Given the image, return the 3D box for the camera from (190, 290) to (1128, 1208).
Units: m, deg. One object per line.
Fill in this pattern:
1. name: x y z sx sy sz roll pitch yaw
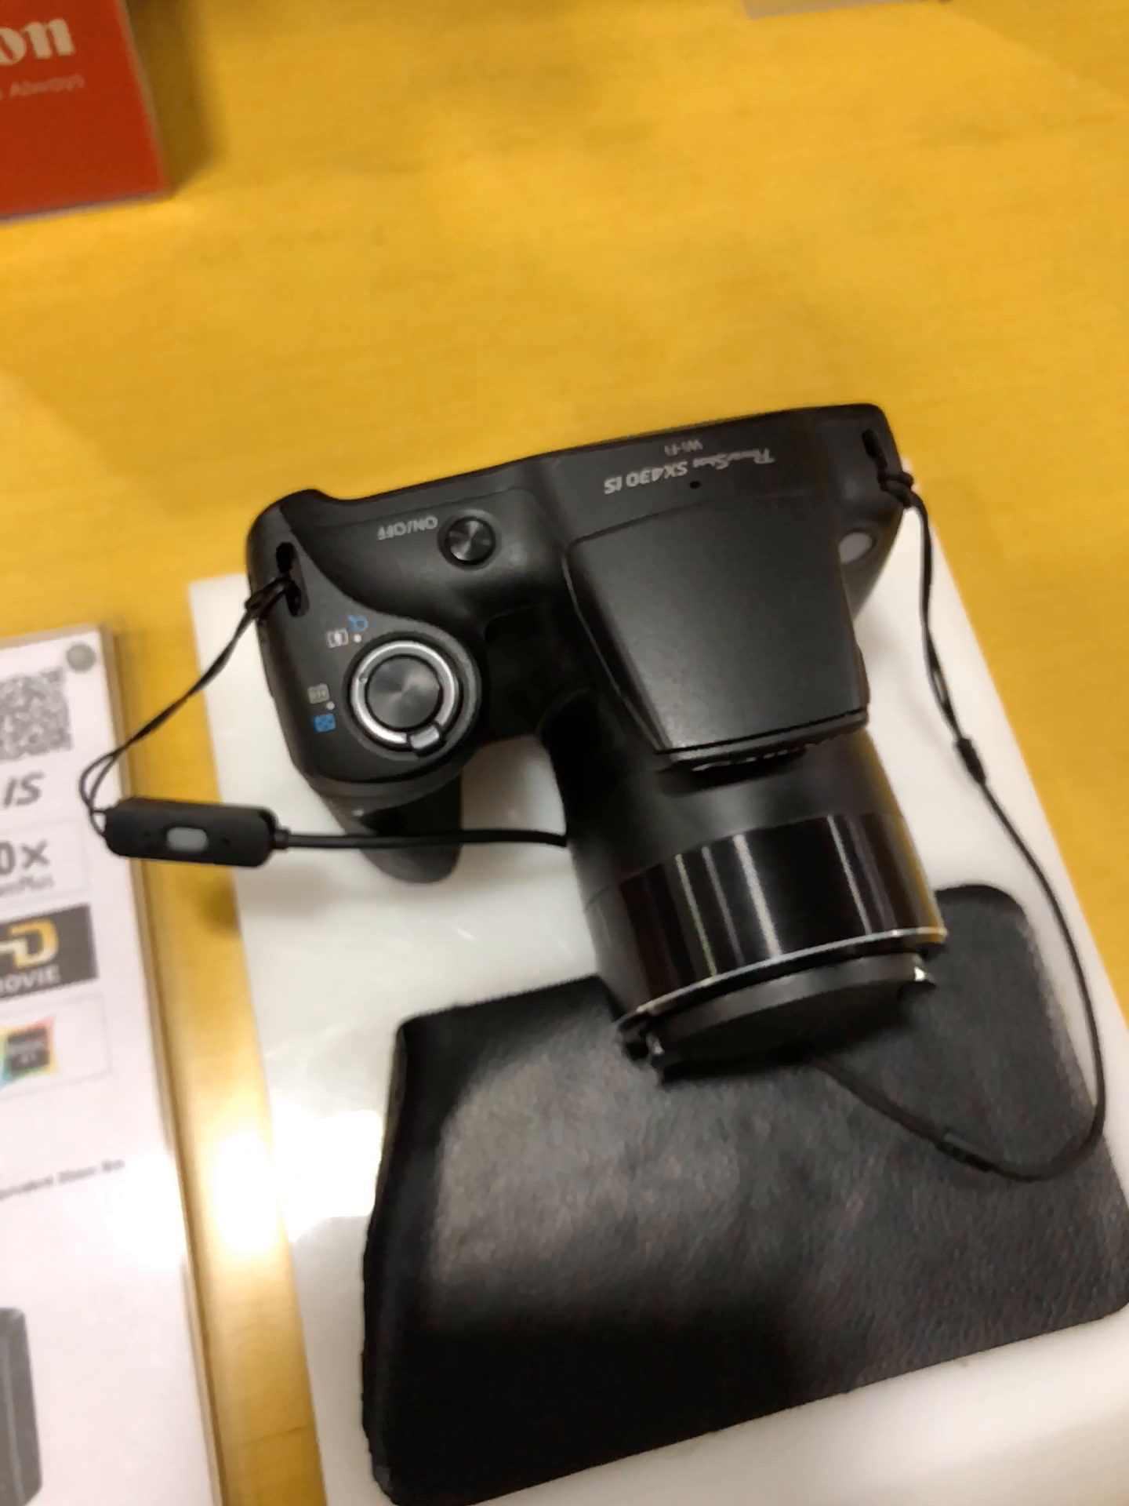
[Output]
1. camera: 0.016 0.006 0.193 0.110 0.090 0.090 -13 69 -8
